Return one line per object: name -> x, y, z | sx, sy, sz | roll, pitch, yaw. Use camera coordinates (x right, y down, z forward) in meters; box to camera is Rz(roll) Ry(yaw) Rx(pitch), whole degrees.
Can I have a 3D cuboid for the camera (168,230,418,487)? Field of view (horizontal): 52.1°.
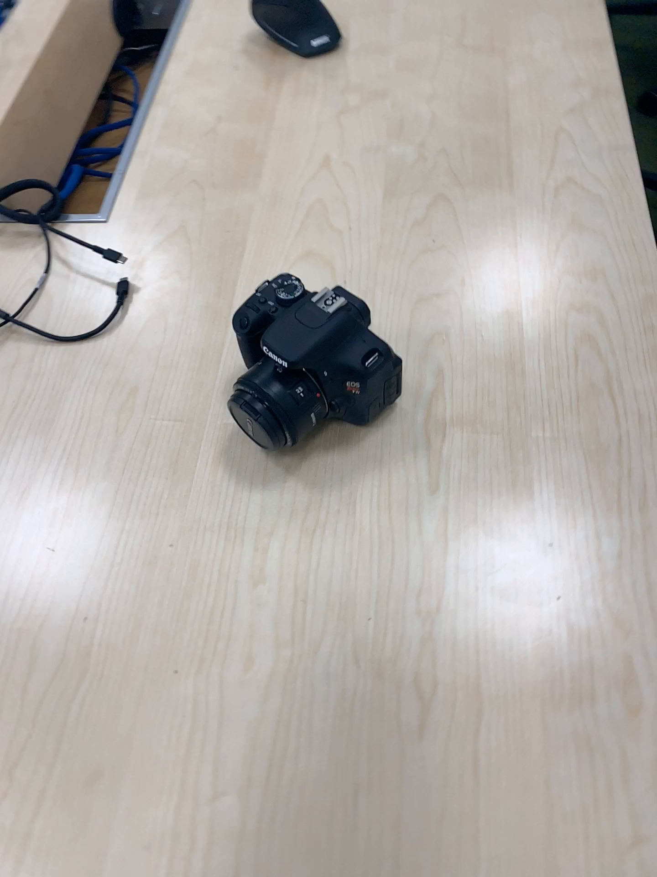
camera -> -0.022, -0.062, 0.510 | 0.130, 0.090, 0.120 | 37, 69, 24
